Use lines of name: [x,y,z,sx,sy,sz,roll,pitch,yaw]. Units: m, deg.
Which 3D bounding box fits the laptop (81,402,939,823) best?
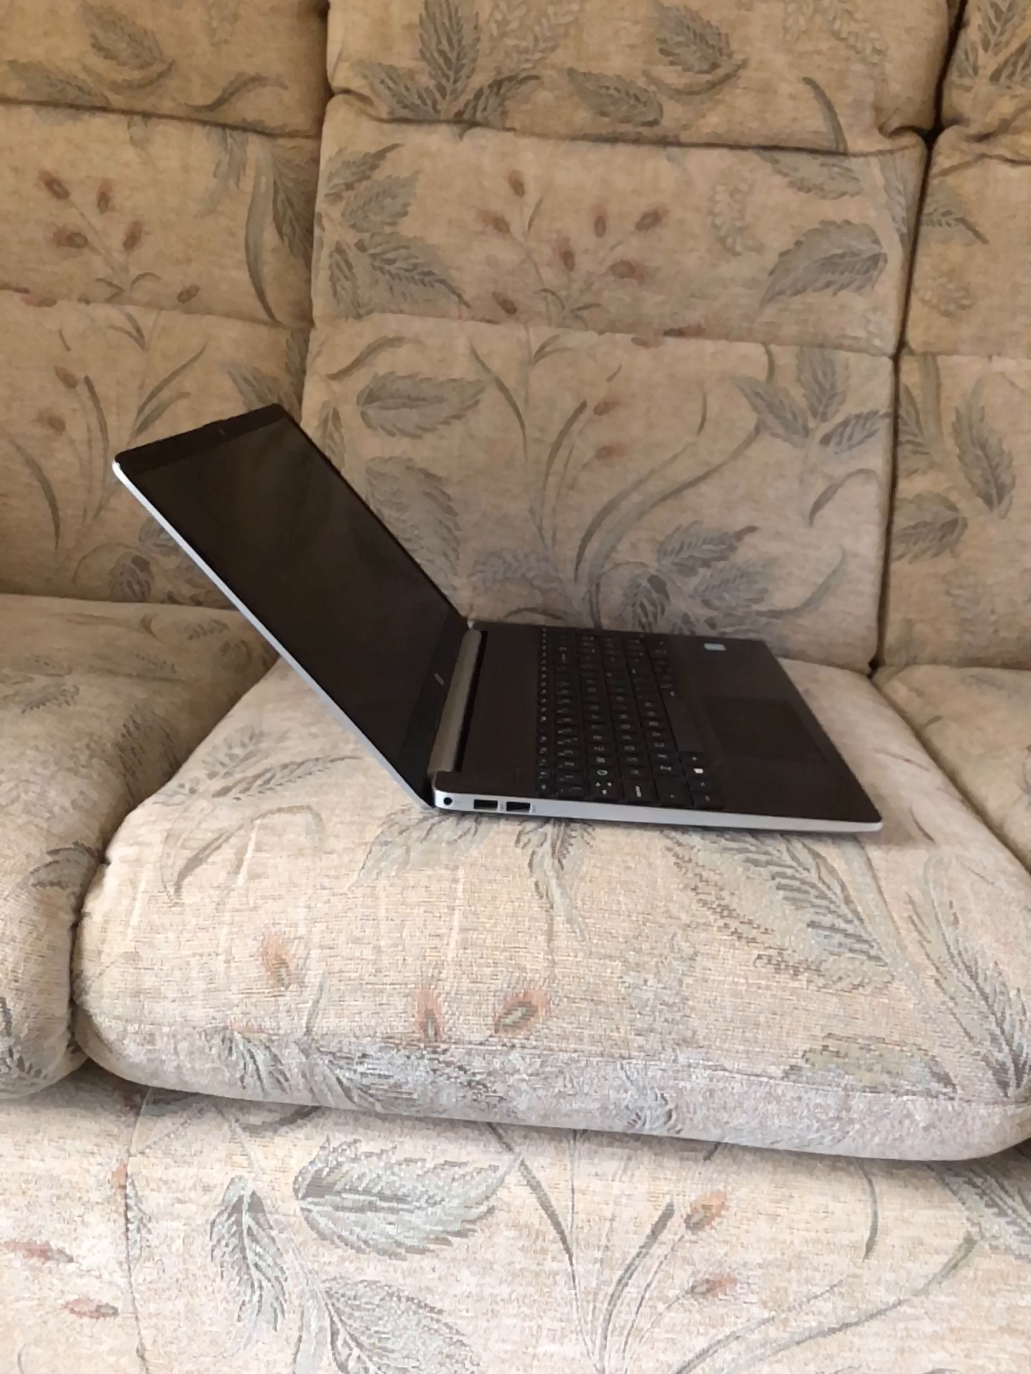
laptop: [0.002,-0.070,0.723,0.397,0.163,0.340,4,20,-1]
